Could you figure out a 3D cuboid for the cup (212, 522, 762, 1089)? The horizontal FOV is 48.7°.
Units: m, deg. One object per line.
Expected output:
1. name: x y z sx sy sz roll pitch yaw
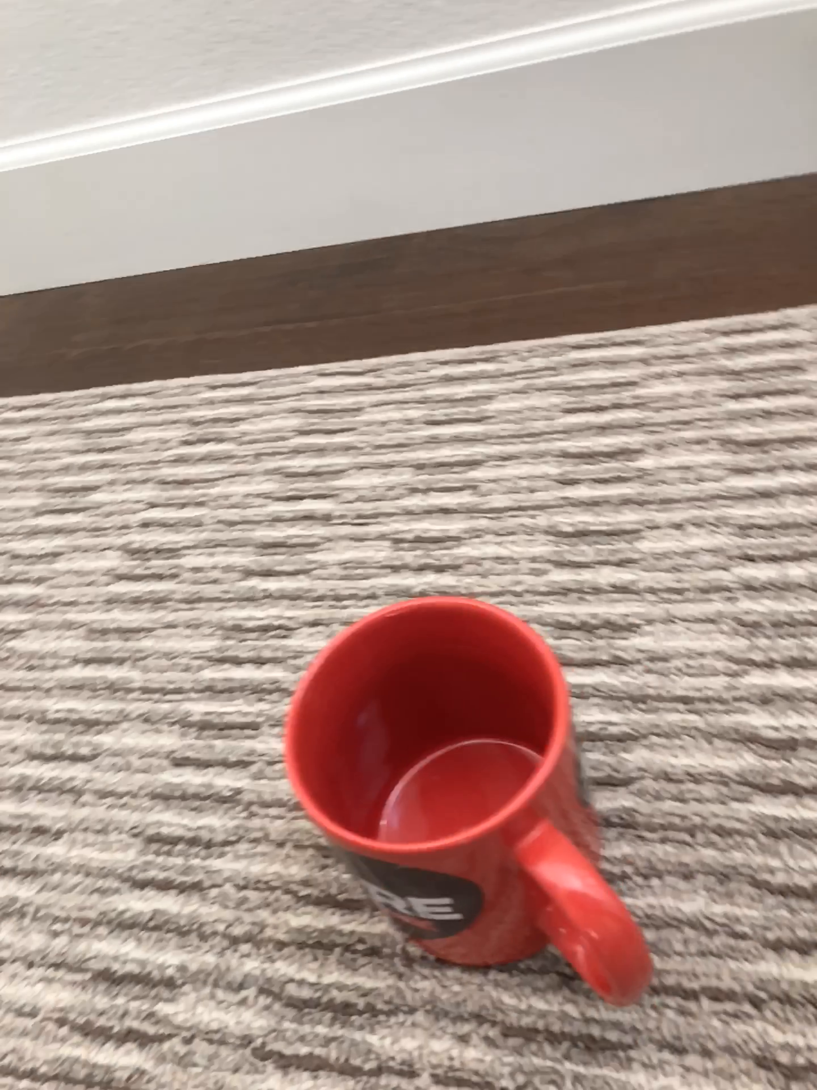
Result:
1. cup: 0.030 0.099 0.334 0.110 0.119 0.151 -37 47 -15
